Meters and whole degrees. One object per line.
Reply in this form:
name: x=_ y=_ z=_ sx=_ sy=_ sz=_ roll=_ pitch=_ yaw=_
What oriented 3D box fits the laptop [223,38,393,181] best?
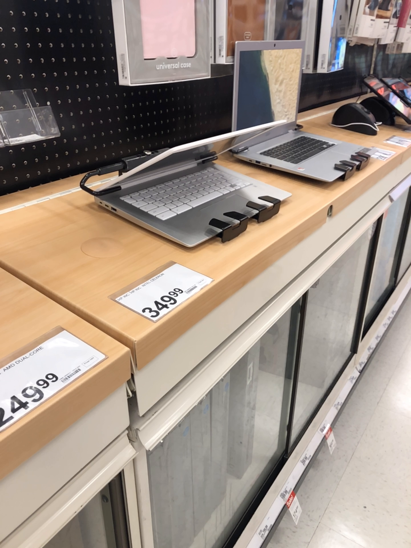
laptop: x=0.265 y=-0.434 z=1.134 sx=0.273 sy=0.244 sz=0.390 roll=20 pitch=33 yaw=27

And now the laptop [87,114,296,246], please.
laptop: x=-0.008 y=-0.192 z=0.821 sx=0.215 sy=0.100 sz=0.331 roll=26 pitch=36 yaw=28
